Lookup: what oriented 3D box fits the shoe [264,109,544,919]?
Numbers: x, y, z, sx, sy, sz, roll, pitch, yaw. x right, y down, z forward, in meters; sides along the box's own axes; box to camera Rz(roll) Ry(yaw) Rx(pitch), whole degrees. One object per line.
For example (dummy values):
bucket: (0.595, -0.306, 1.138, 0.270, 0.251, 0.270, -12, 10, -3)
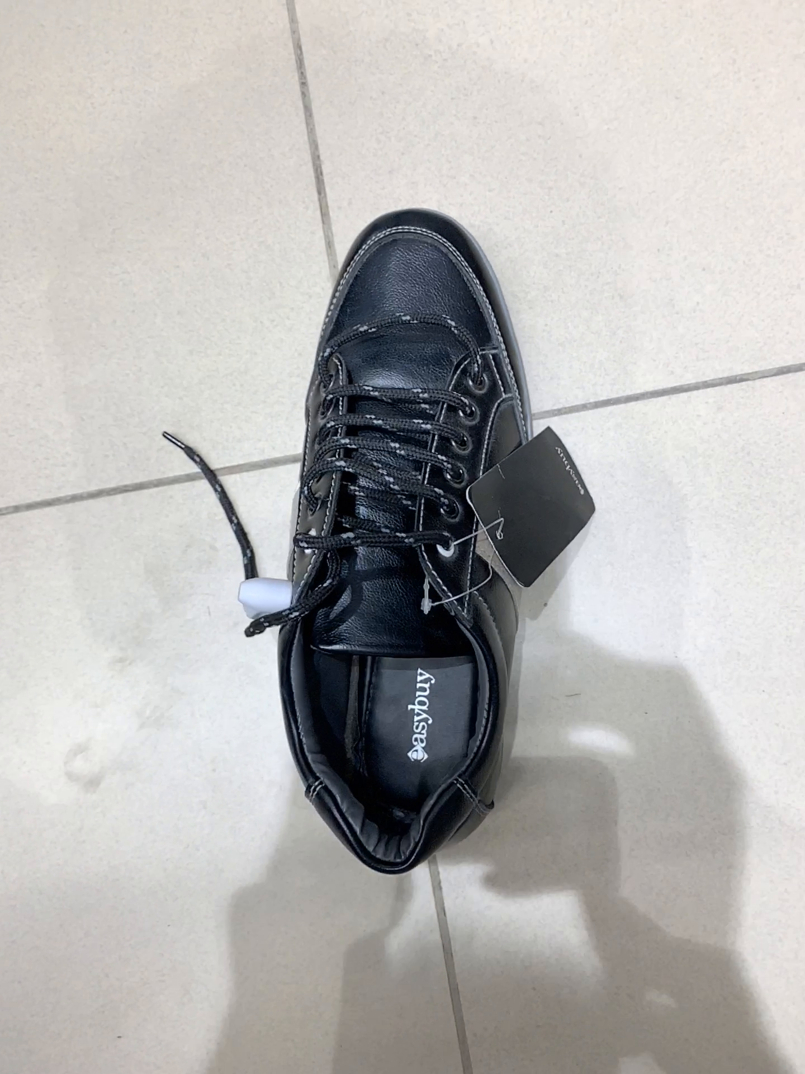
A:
shoe: (0.003, -0.010, 0.354, 0.100, 0.090, 0.300, -1, 85, 5)
